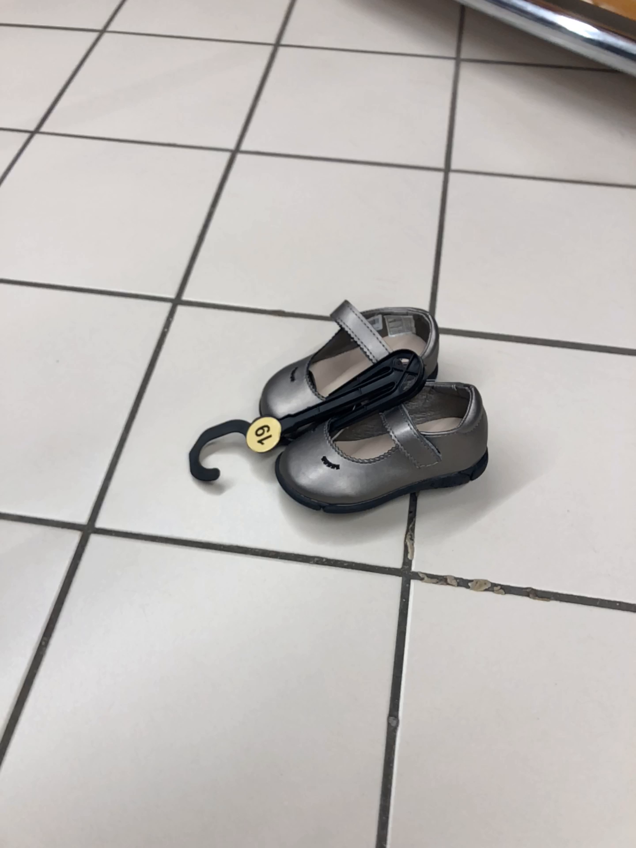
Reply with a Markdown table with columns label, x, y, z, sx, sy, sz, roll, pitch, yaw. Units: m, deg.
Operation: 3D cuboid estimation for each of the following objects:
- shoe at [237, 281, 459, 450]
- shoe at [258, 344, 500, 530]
| label | x | y | z | sx | sy | sz | roll | pitch | yaw |
| --- | --- | --- | --- | --- | --- | --- | --- | --- | --- |
| shoe | 0.020 | -0.041 | 0.482 | 0.134 | 0.047 | 0.059 | -21 | 57 | -14 |
| shoe | 0.036 | 0.006 | 0.437 | 0.129 | 0.061 | 0.068 | -12 | 41 | -8 |
